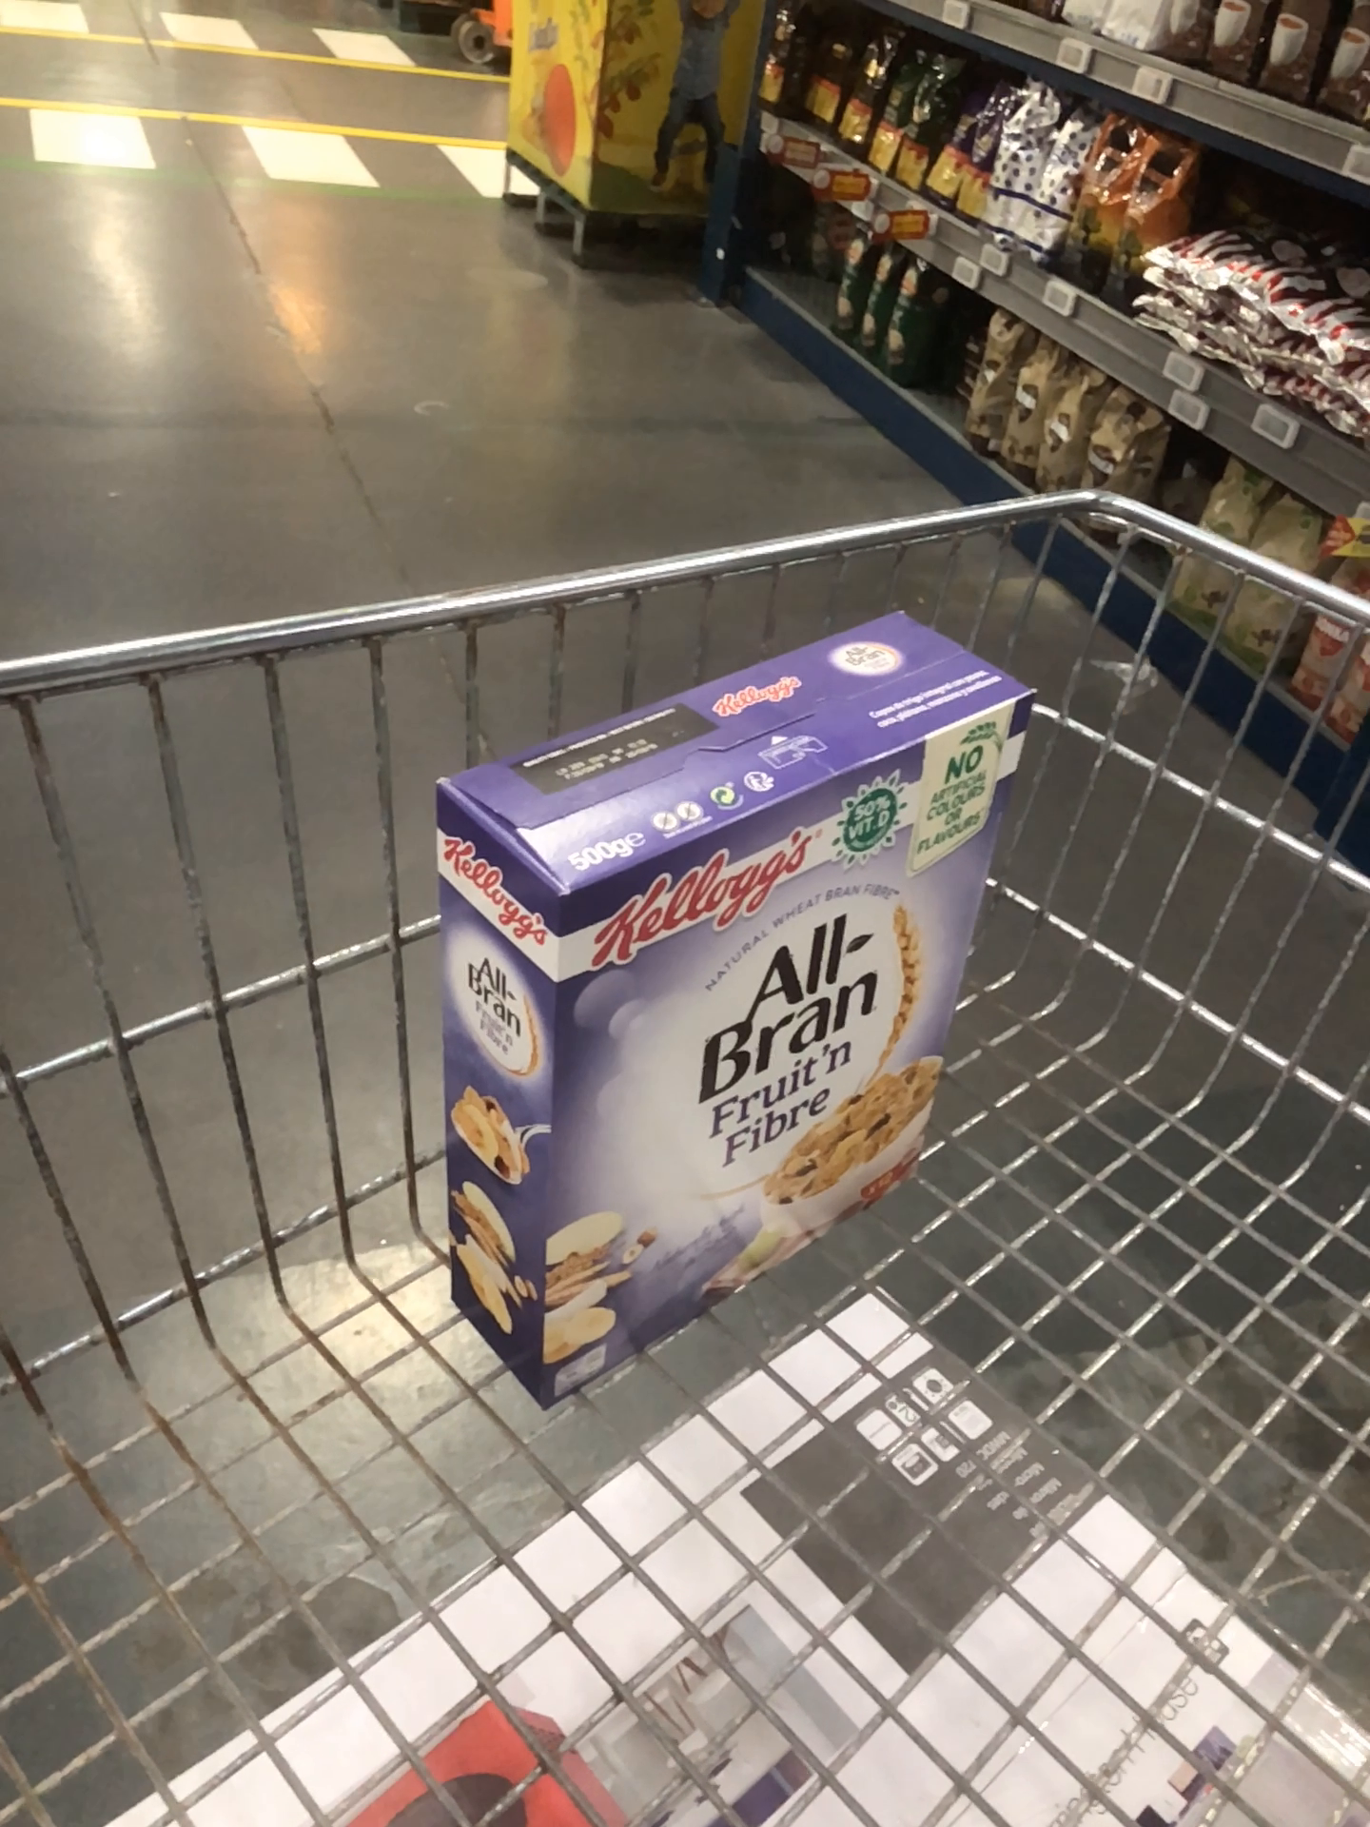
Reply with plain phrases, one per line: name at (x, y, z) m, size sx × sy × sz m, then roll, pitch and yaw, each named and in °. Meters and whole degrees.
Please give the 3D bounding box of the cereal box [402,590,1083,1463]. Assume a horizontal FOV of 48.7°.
cereal box at (0.013, 0.037, 0.489) m, size 0.191 × 0.229 × 0.070 m, roll -26°, pitch 50°, yaw -33°
